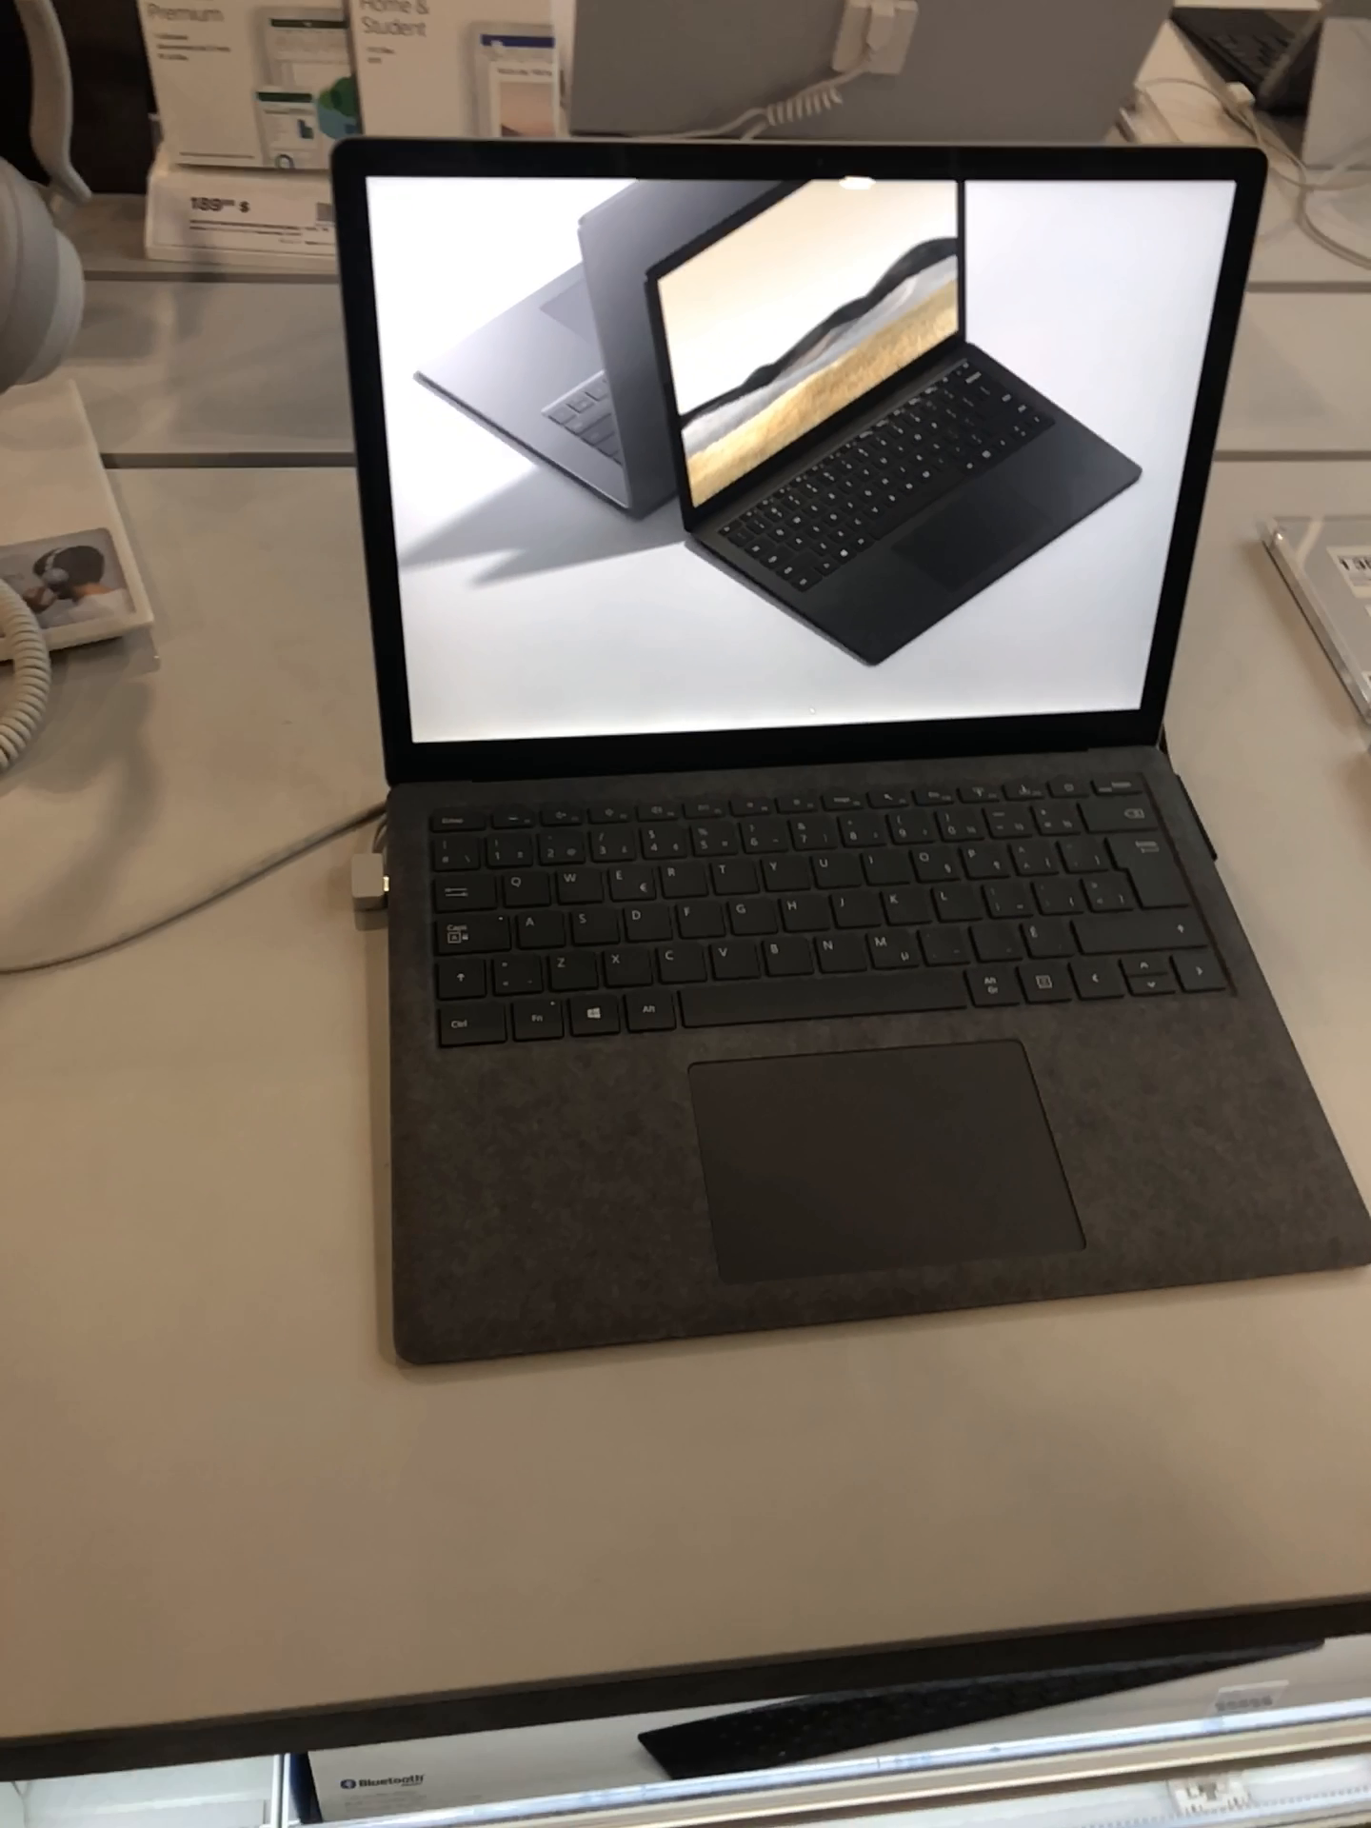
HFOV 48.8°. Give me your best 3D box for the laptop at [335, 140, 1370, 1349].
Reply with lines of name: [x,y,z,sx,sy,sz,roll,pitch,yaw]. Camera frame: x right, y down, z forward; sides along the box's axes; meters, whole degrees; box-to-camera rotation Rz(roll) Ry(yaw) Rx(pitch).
laptop: [0.055,-0.063,0.464,0.297,0.197,0.296,-3,52,-8]
